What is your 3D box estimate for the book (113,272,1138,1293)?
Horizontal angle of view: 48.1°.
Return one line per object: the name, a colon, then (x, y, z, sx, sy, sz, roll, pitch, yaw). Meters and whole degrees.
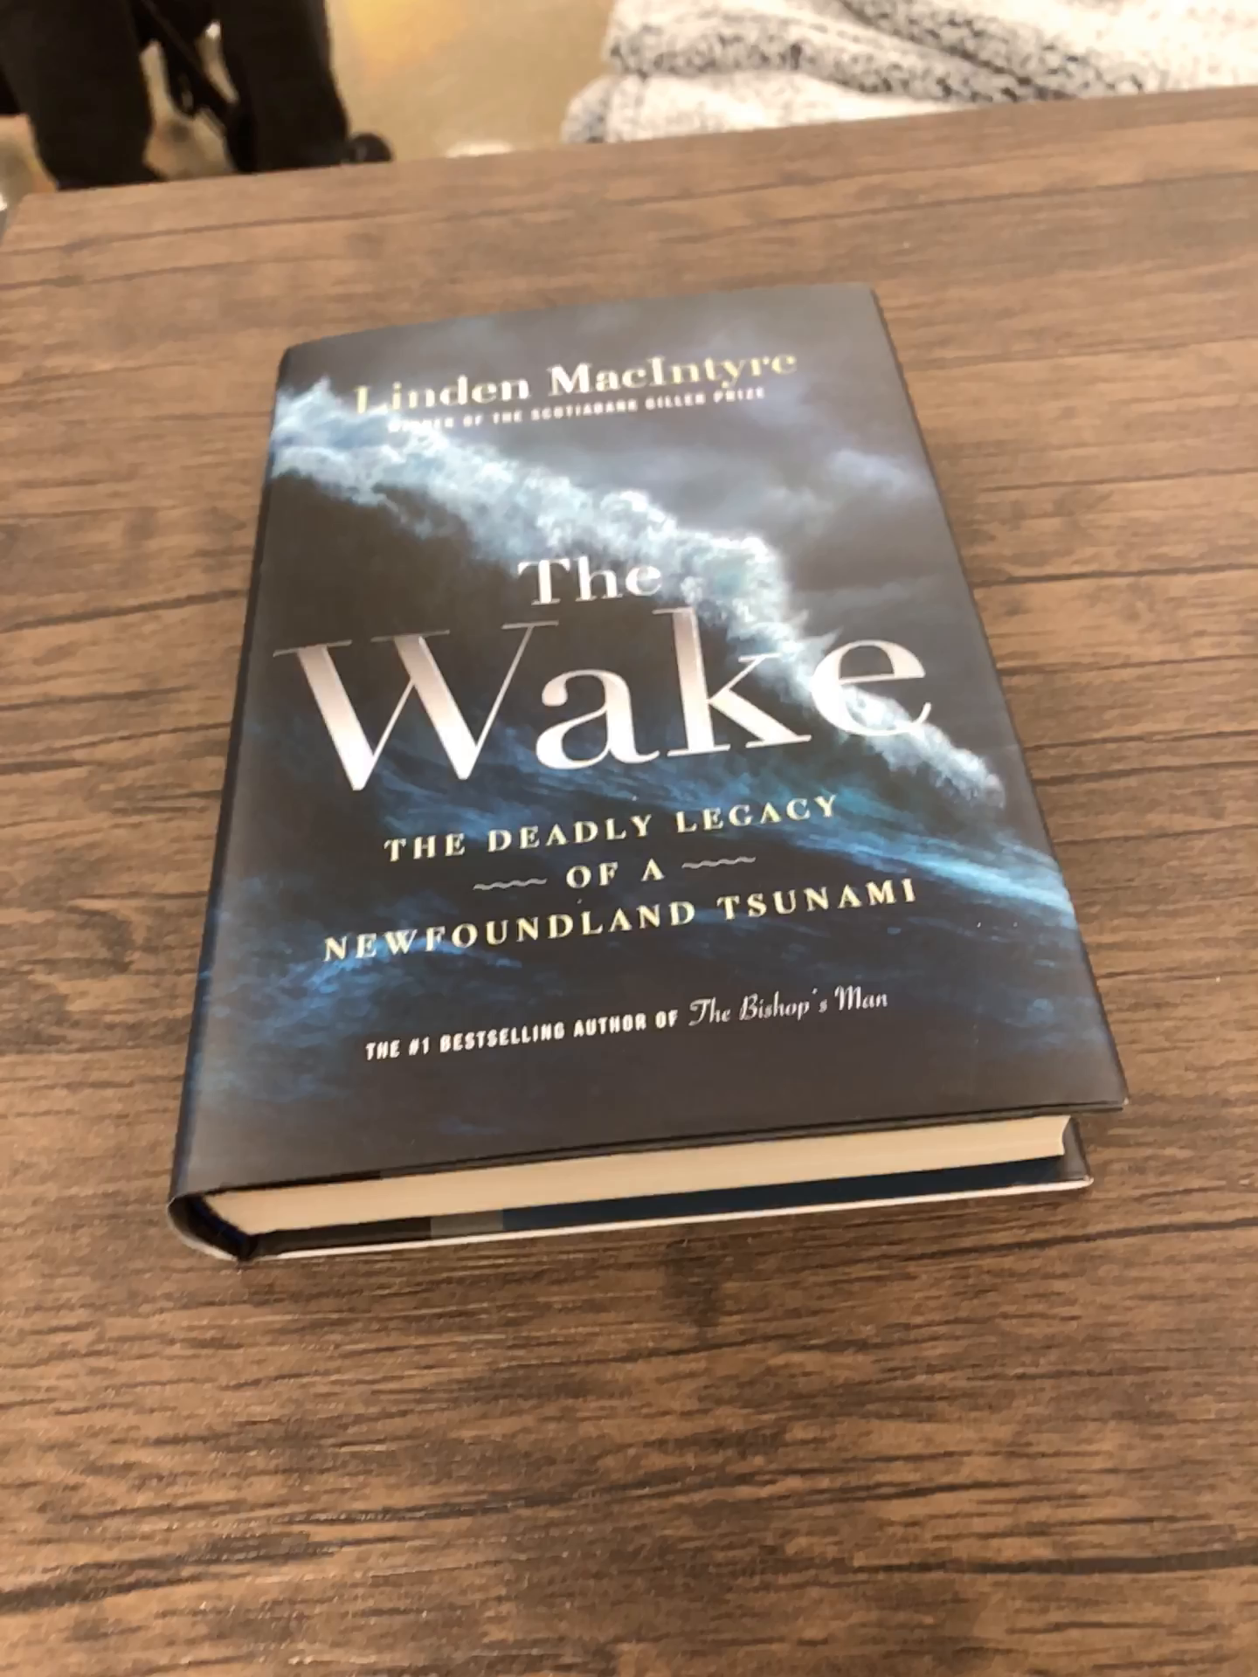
book: (-0.007, -0.030, 0.308, 0.160, 0.050, 0.231, -5, 53, 0)
